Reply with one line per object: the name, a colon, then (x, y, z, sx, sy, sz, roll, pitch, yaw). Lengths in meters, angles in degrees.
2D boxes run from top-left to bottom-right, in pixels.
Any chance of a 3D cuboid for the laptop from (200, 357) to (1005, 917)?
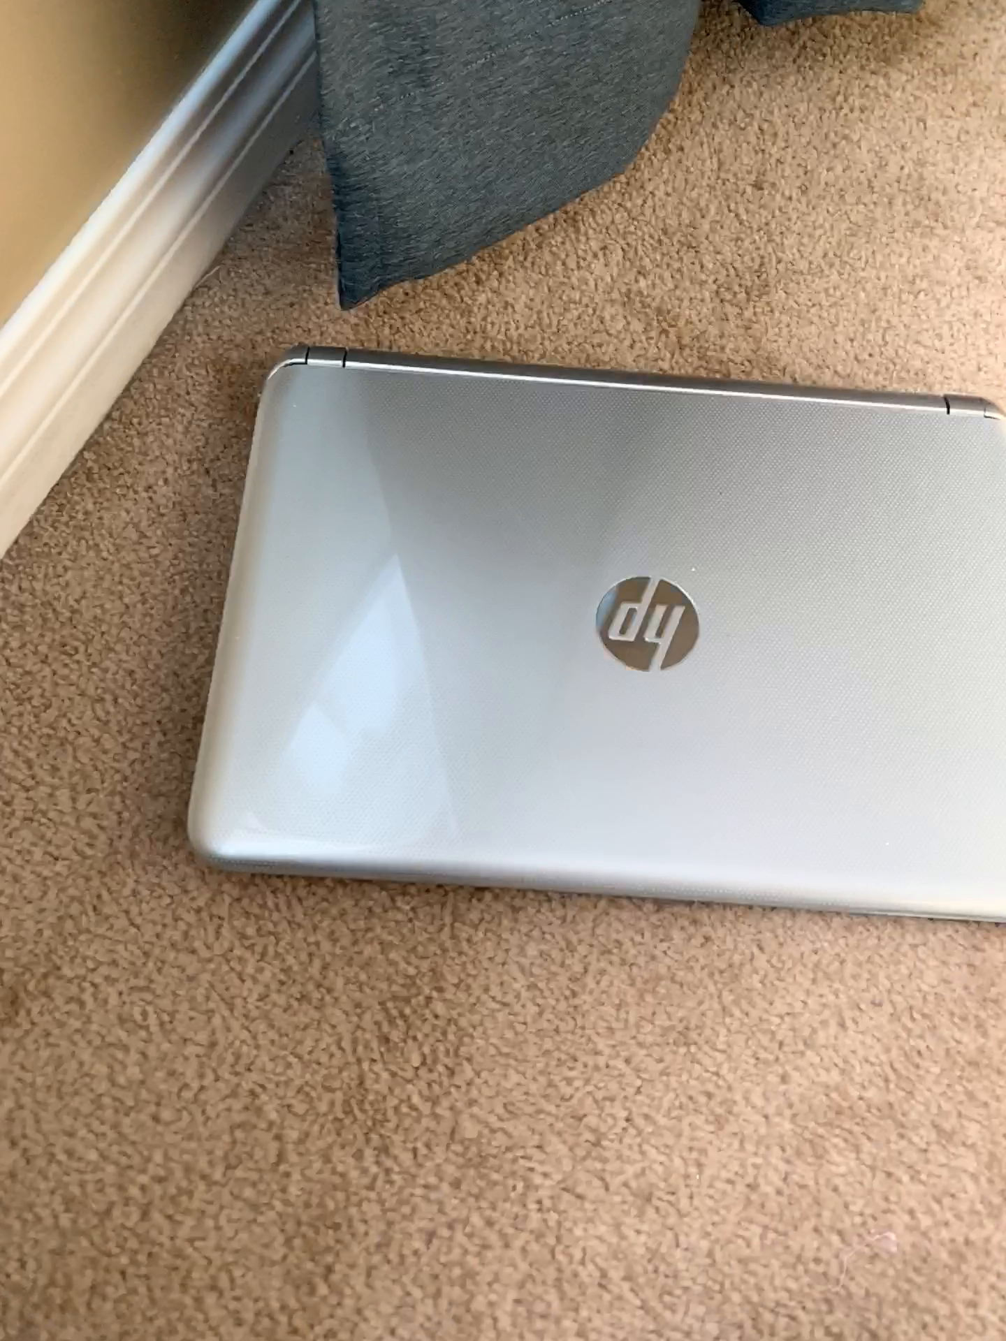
laptop: (0.059, -0.025, 0.420, 0.328, 0.002, 0.223, 4, 67, 0)
